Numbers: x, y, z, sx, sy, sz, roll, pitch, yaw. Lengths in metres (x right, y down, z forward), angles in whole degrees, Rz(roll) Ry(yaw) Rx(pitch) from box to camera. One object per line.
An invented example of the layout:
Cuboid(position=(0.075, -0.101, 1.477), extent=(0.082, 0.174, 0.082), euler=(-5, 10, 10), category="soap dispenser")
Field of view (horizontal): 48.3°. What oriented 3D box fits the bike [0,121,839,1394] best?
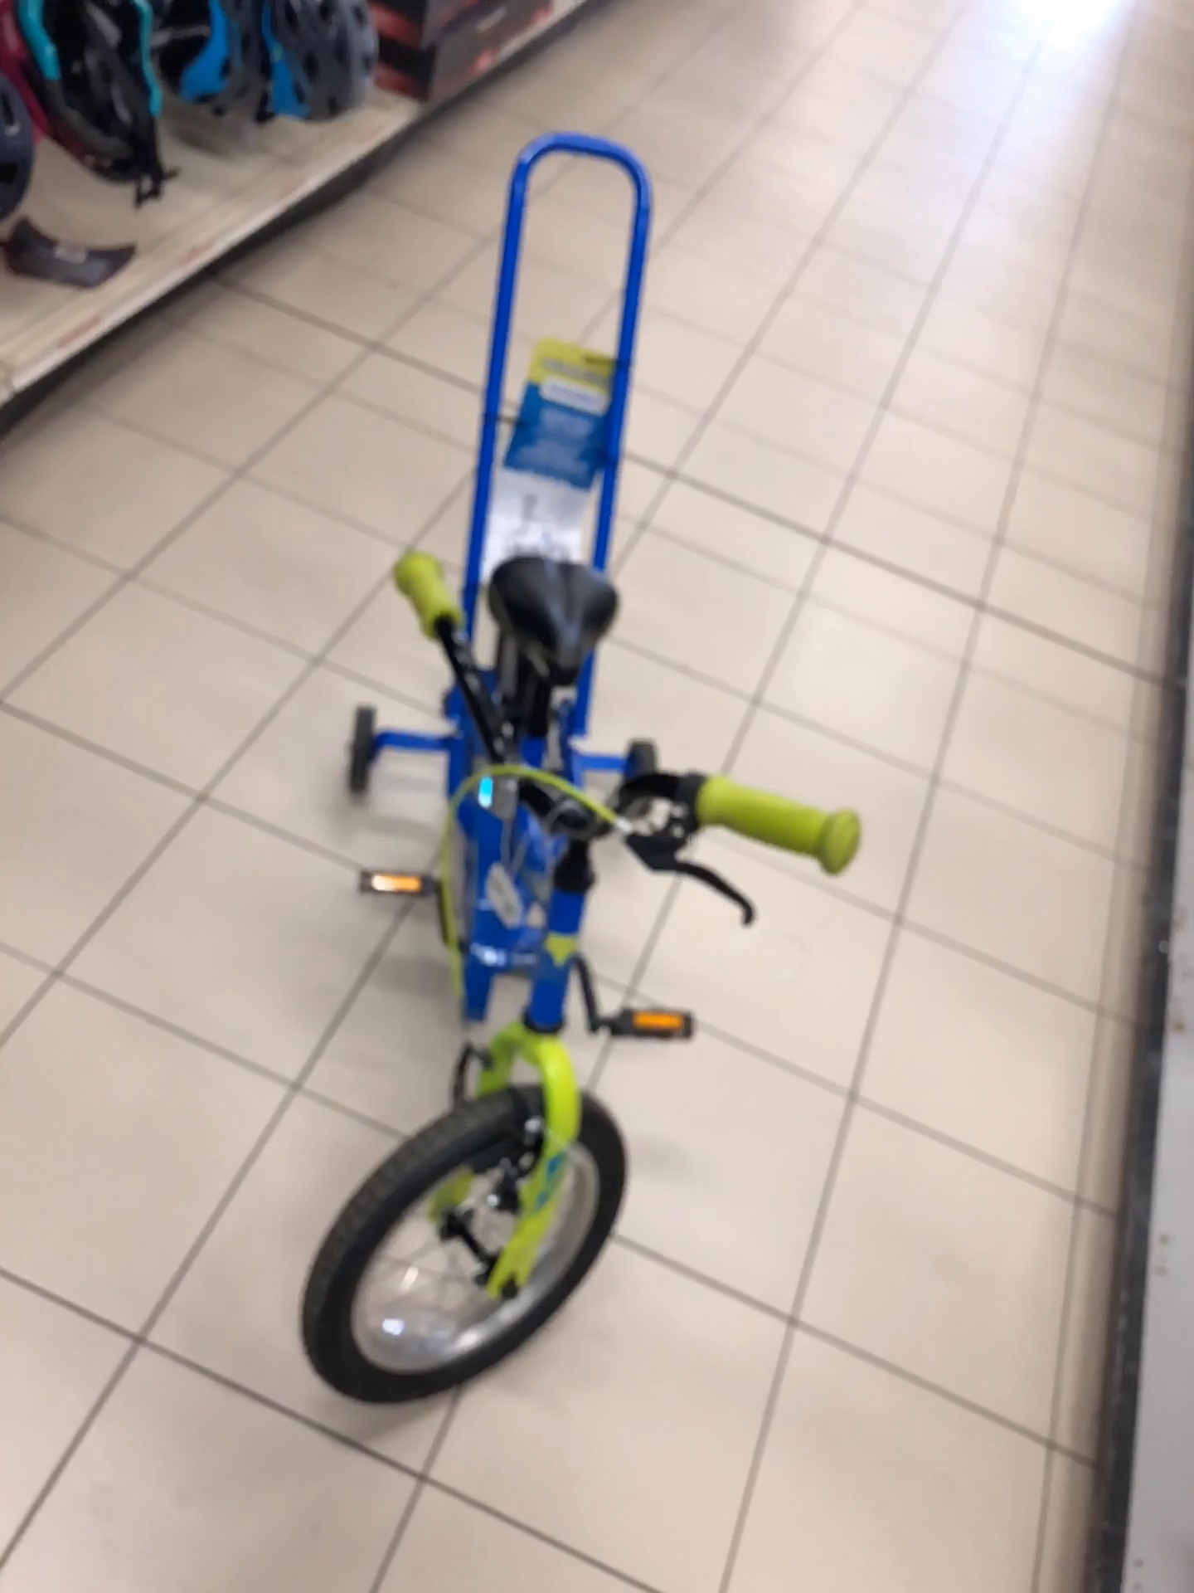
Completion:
Cuboid(position=(-0.165, -0.045, 1.292), extent=(0.538, 0.763, 0.957), euler=(14, 45, -6), category="bike")
